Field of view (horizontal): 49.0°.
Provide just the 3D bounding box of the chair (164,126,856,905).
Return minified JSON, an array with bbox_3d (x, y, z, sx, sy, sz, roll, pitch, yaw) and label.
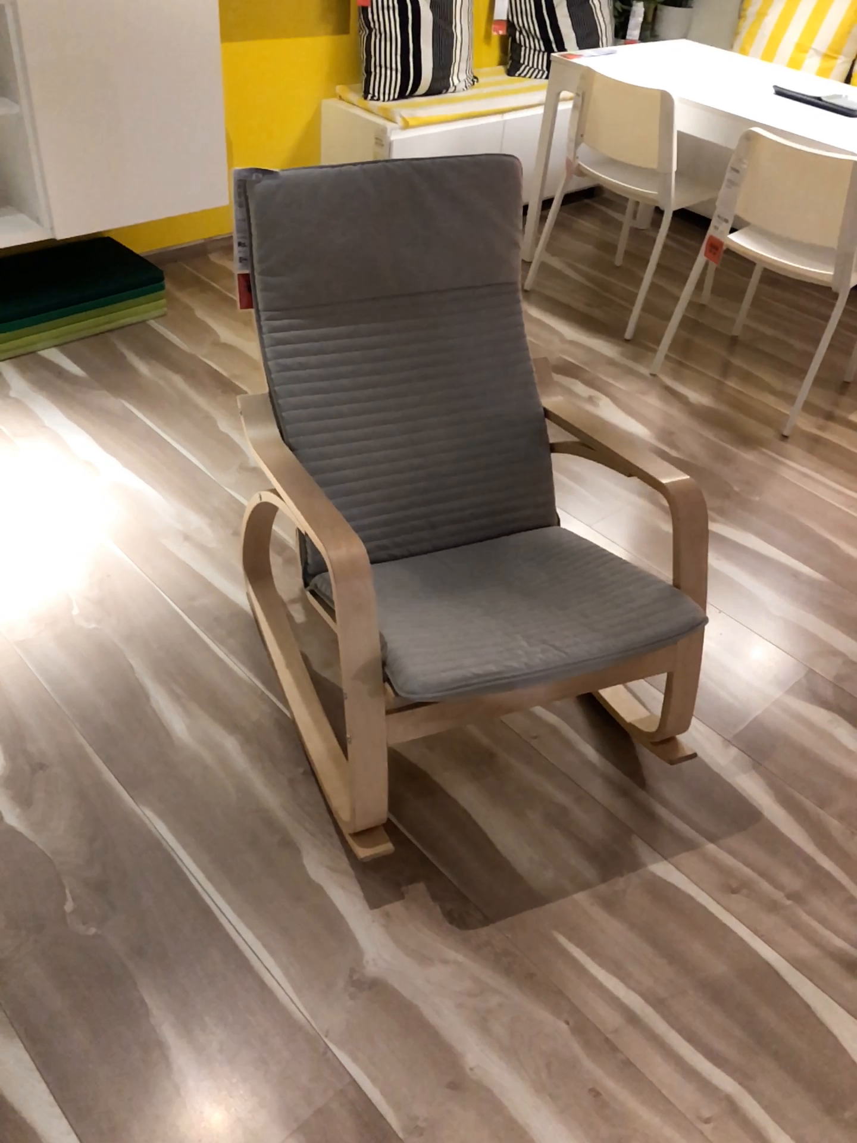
[{"bbox_3d":[0.059,-0.124,1.566,0.751,0.943,0.704,-12,43,-21],"label":"chair"}]
